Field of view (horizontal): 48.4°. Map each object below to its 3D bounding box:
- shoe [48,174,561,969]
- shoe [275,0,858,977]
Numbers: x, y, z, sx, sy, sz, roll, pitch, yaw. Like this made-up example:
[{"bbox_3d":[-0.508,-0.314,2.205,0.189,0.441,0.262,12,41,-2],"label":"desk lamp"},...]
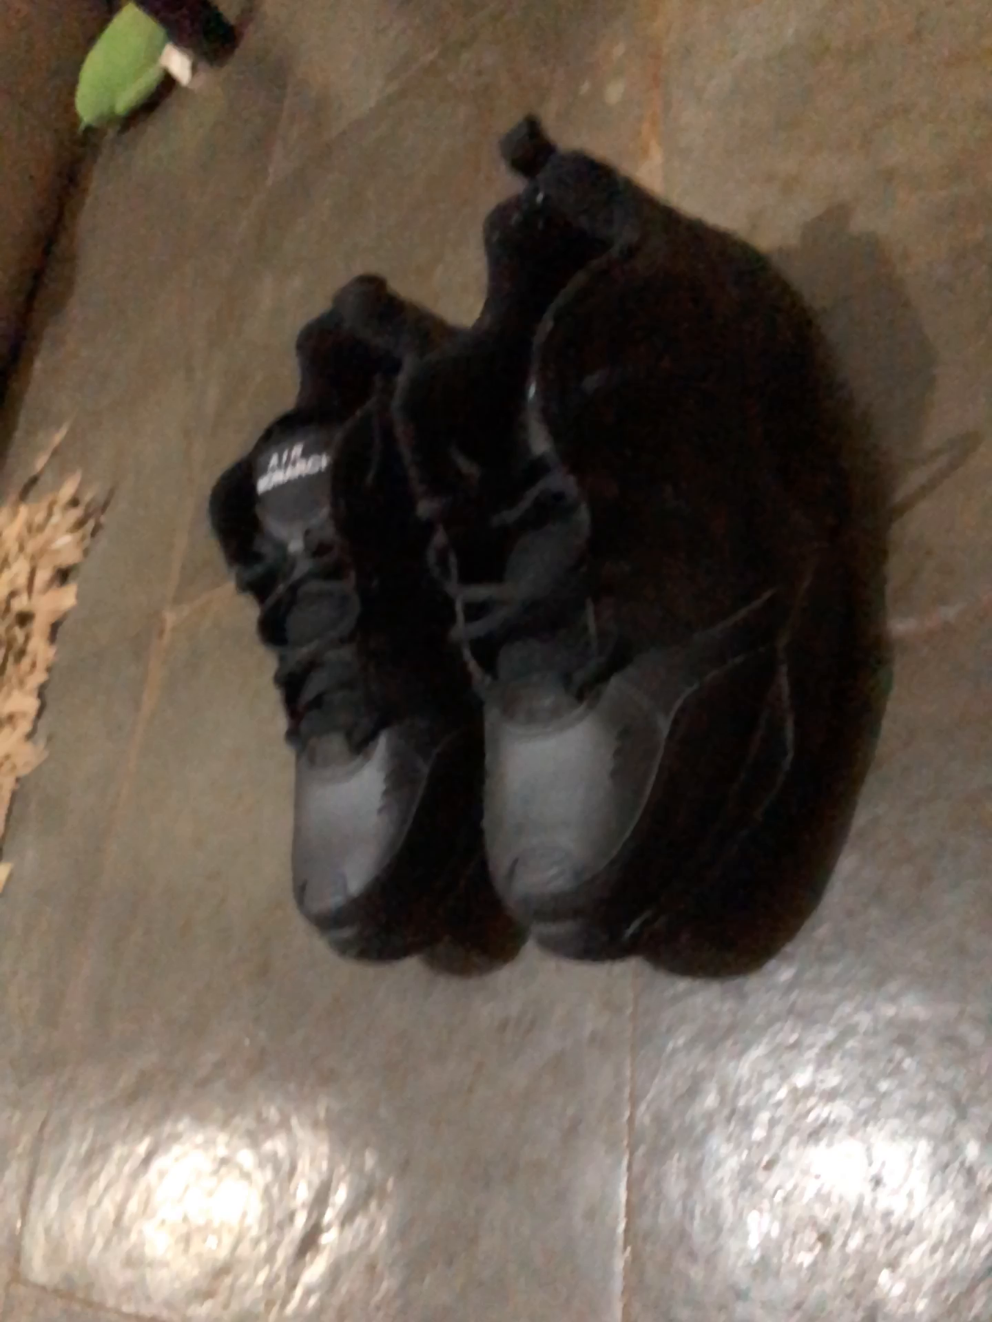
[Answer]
[{"bbox_3d":[-0.064,-0.031,0.447,0.120,0.109,0.281,-17,57,39],"label":"shoe"},{"bbox_3d":[0.035,-0.059,0.369,0.120,0.109,0.301,-15,57,40],"label":"shoe"}]
